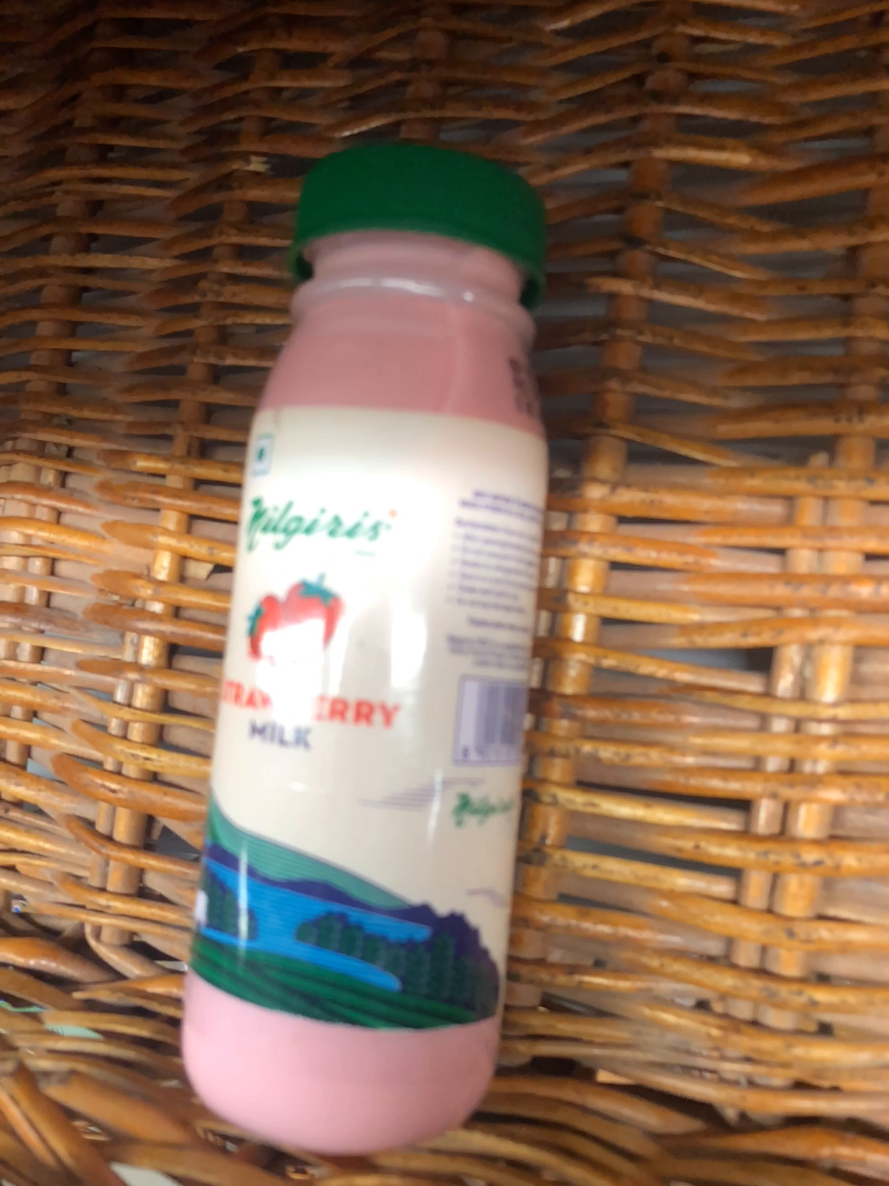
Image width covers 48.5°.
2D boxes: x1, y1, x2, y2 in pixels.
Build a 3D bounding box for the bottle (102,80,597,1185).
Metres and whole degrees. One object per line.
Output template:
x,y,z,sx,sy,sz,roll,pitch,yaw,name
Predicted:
-0.011,0.007,0.154,0.050,0.040,0.150,4,87,20,bottle
